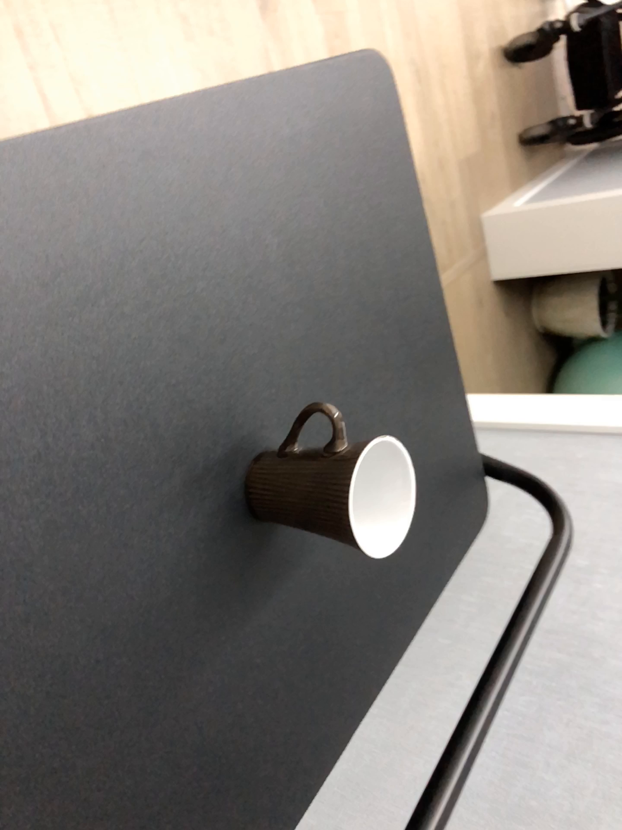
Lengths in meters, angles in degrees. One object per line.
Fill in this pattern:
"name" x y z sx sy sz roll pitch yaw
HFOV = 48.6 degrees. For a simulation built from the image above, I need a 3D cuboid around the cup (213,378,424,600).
"cup" 0.006 0.034 0.359 0.066 0.069 0.089 -32 116 -47
